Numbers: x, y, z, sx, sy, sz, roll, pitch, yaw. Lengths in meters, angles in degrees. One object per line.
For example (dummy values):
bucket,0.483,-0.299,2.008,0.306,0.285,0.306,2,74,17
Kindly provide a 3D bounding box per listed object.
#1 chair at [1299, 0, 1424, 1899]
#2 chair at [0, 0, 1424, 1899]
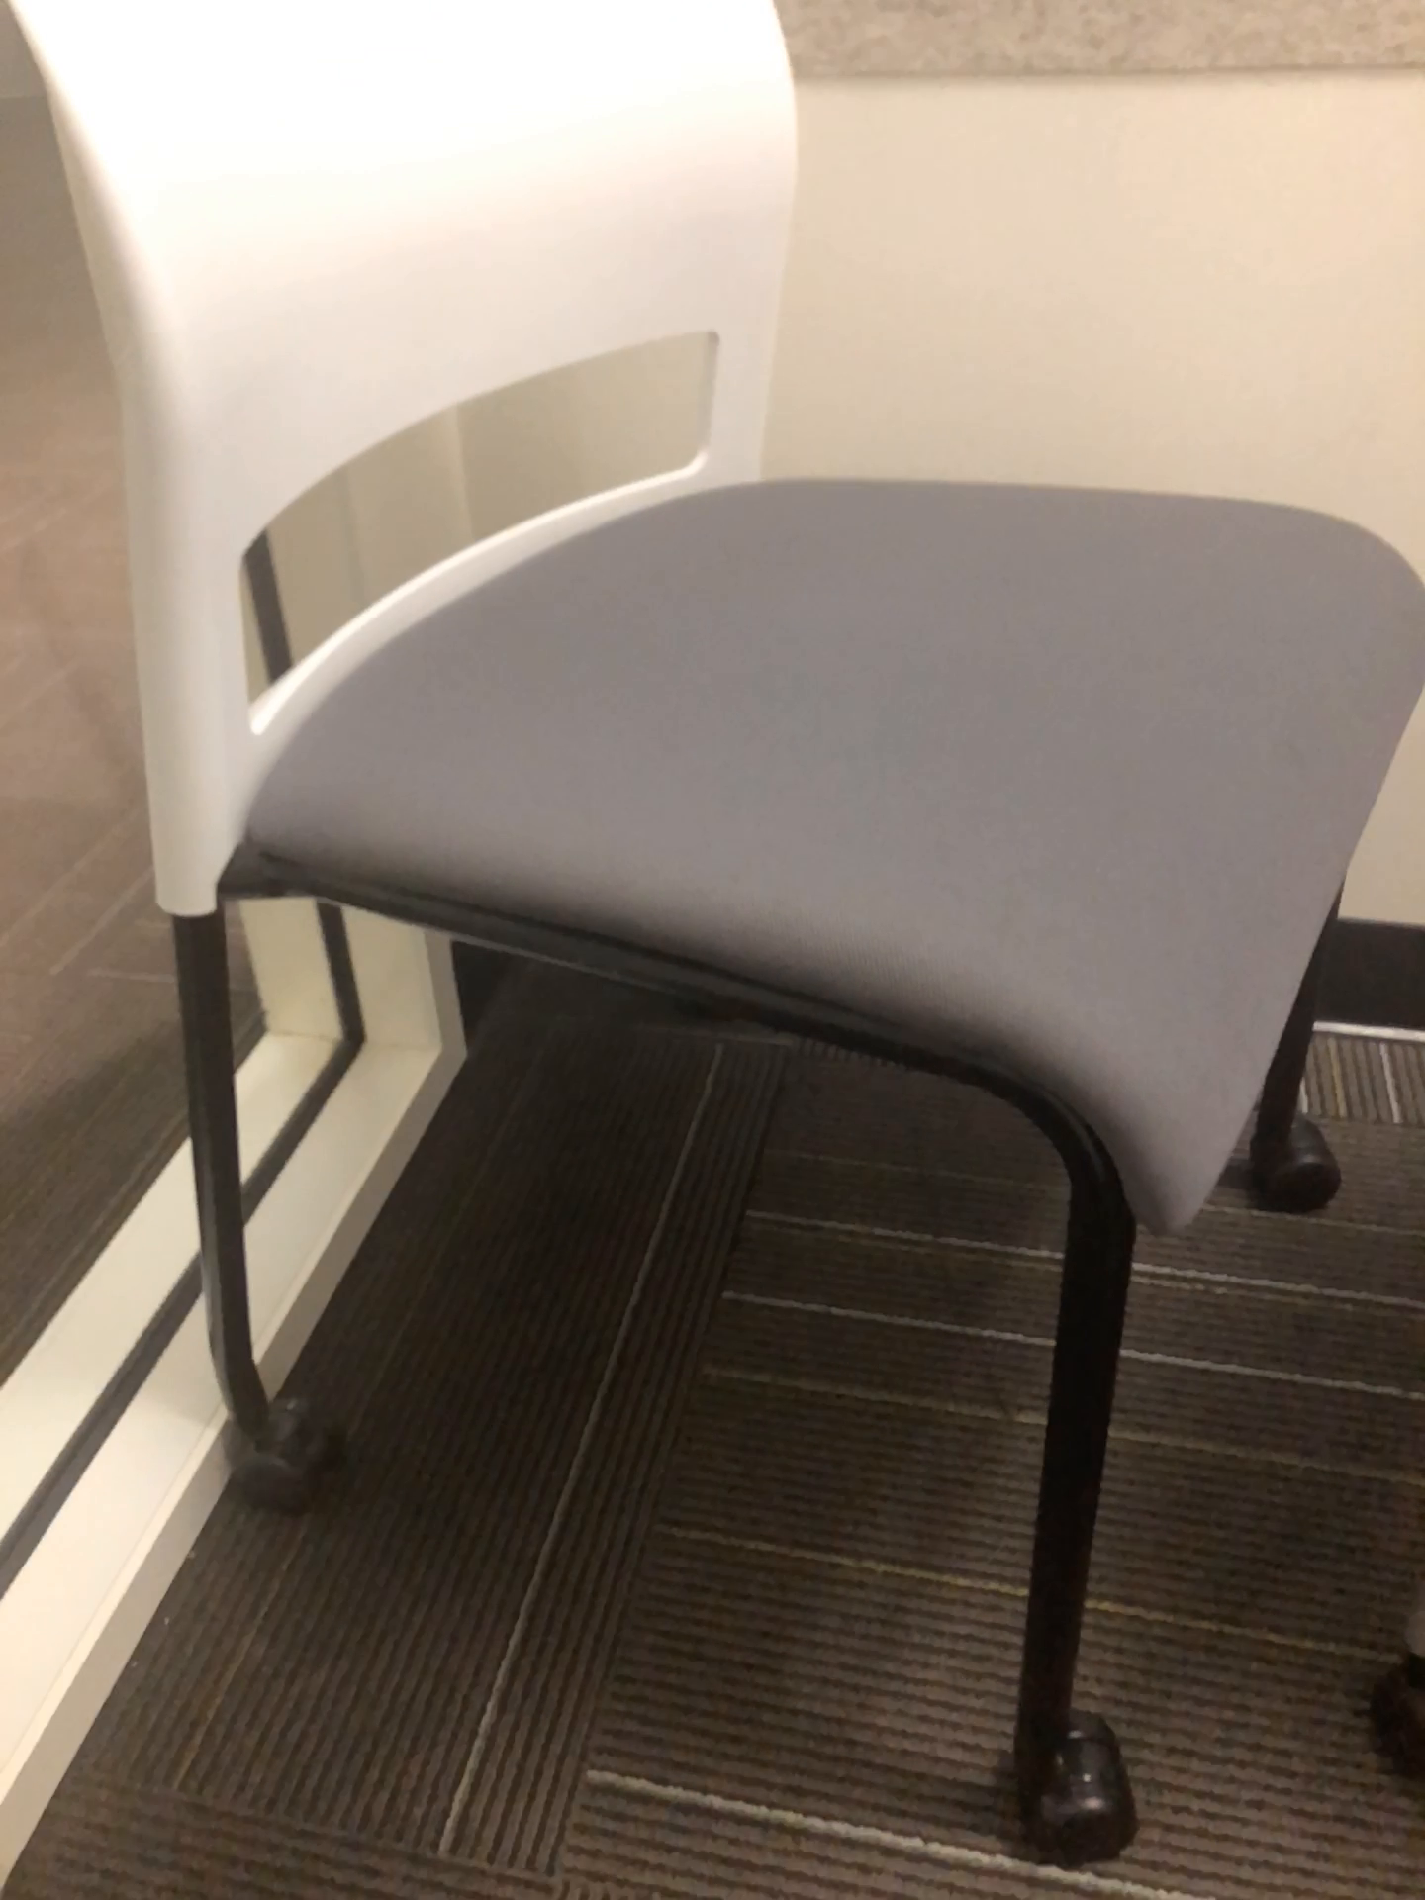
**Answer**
chair,0.832,0.088,0.637,0.704,0.961,0.652,-27,45,-32
chair,0.092,-0.111,0.906,0.650,0.932,0.706,19,39,23
